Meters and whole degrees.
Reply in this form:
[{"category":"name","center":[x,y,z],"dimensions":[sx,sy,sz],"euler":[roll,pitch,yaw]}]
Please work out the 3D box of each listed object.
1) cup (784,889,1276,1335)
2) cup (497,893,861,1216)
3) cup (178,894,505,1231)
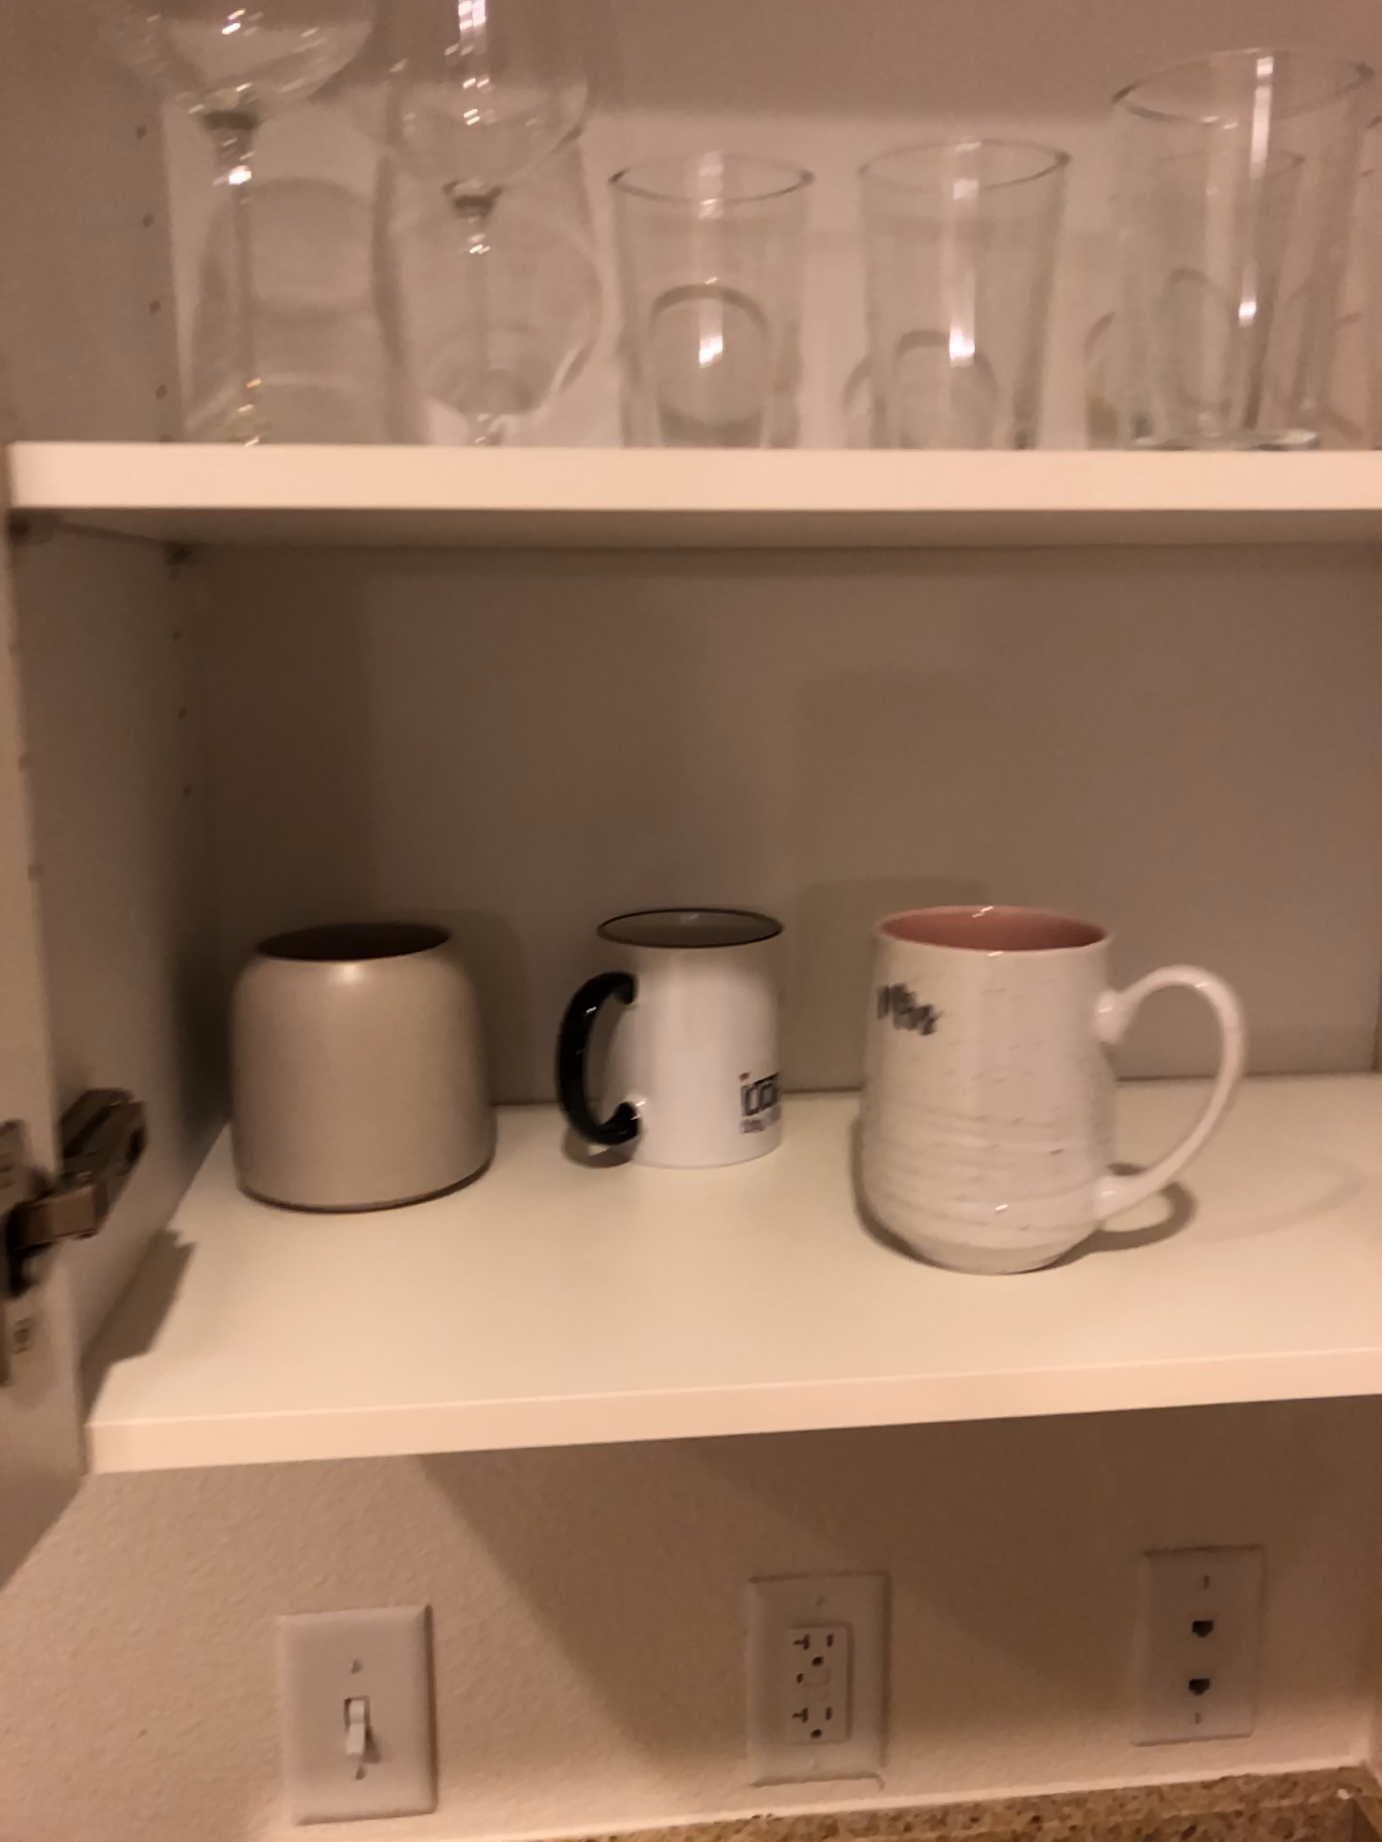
[{"category":"cup","center":[0.114,0.056,0.518],"dimensions":[0.140,0.110,0.090],"euler":[6,12,29]},{"category":"cup","center":[-0.003,0.046,0.599],"dimensions":[0.090,0.090,0.110],"euler":[9,15,42]},{"category":"cup","center":[-0.140,0.049,0.618],"dimensions":[0.110,0.090,0.150],"euler":[-3,11,-13]}]
